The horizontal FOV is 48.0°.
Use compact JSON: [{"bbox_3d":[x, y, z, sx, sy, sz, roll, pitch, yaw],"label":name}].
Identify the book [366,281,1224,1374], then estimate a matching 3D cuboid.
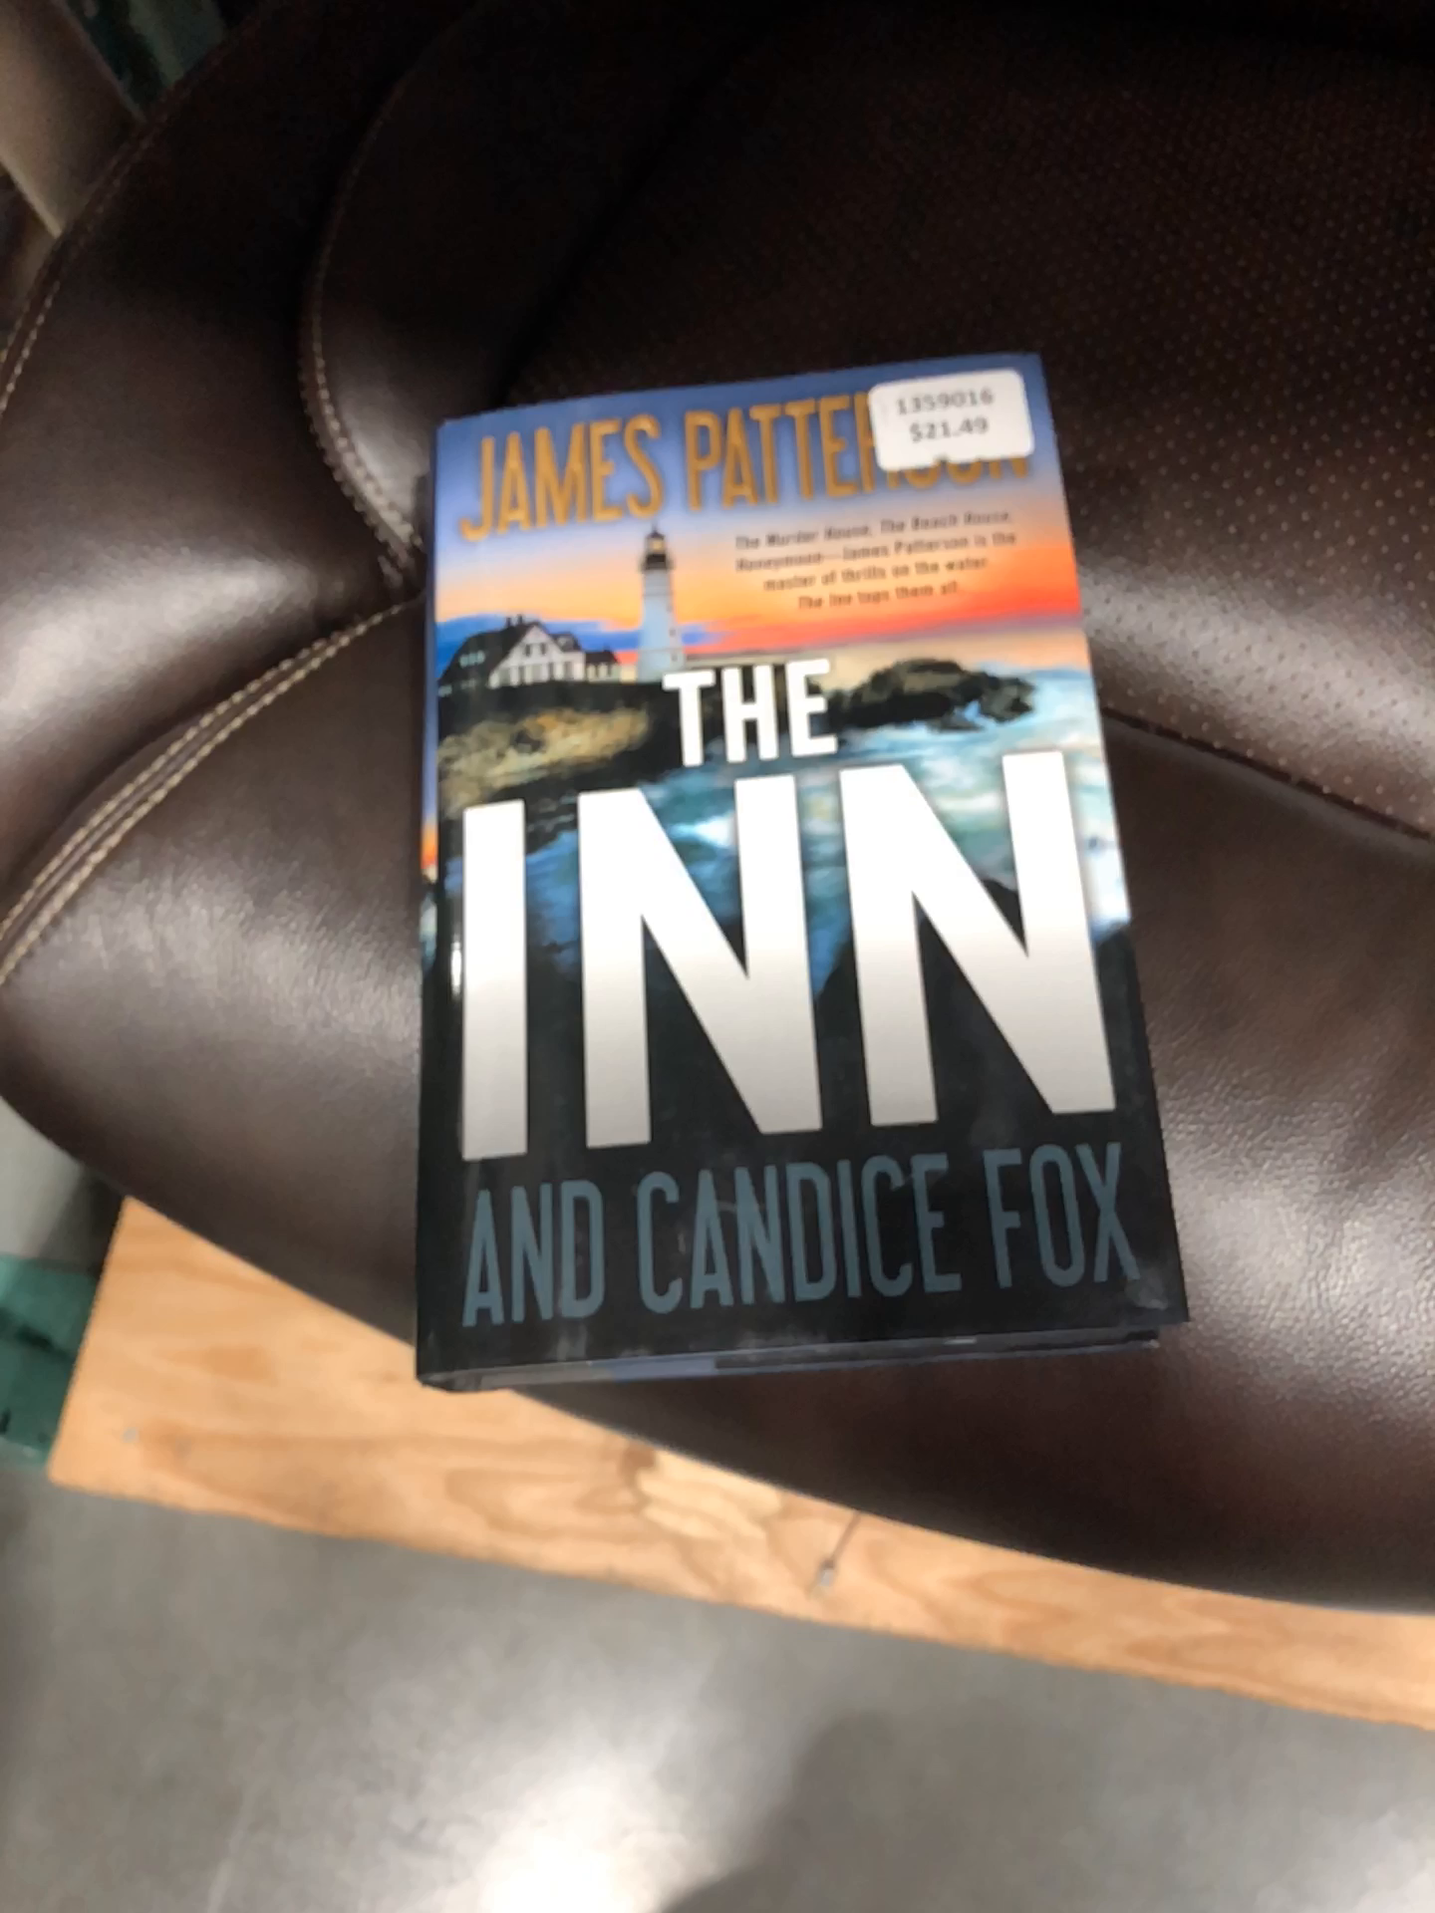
[{"bbox_3d":[0.010,-0.037,0.382,0.170,0.040,0.250,-5,69,6],"label":"book"}]
